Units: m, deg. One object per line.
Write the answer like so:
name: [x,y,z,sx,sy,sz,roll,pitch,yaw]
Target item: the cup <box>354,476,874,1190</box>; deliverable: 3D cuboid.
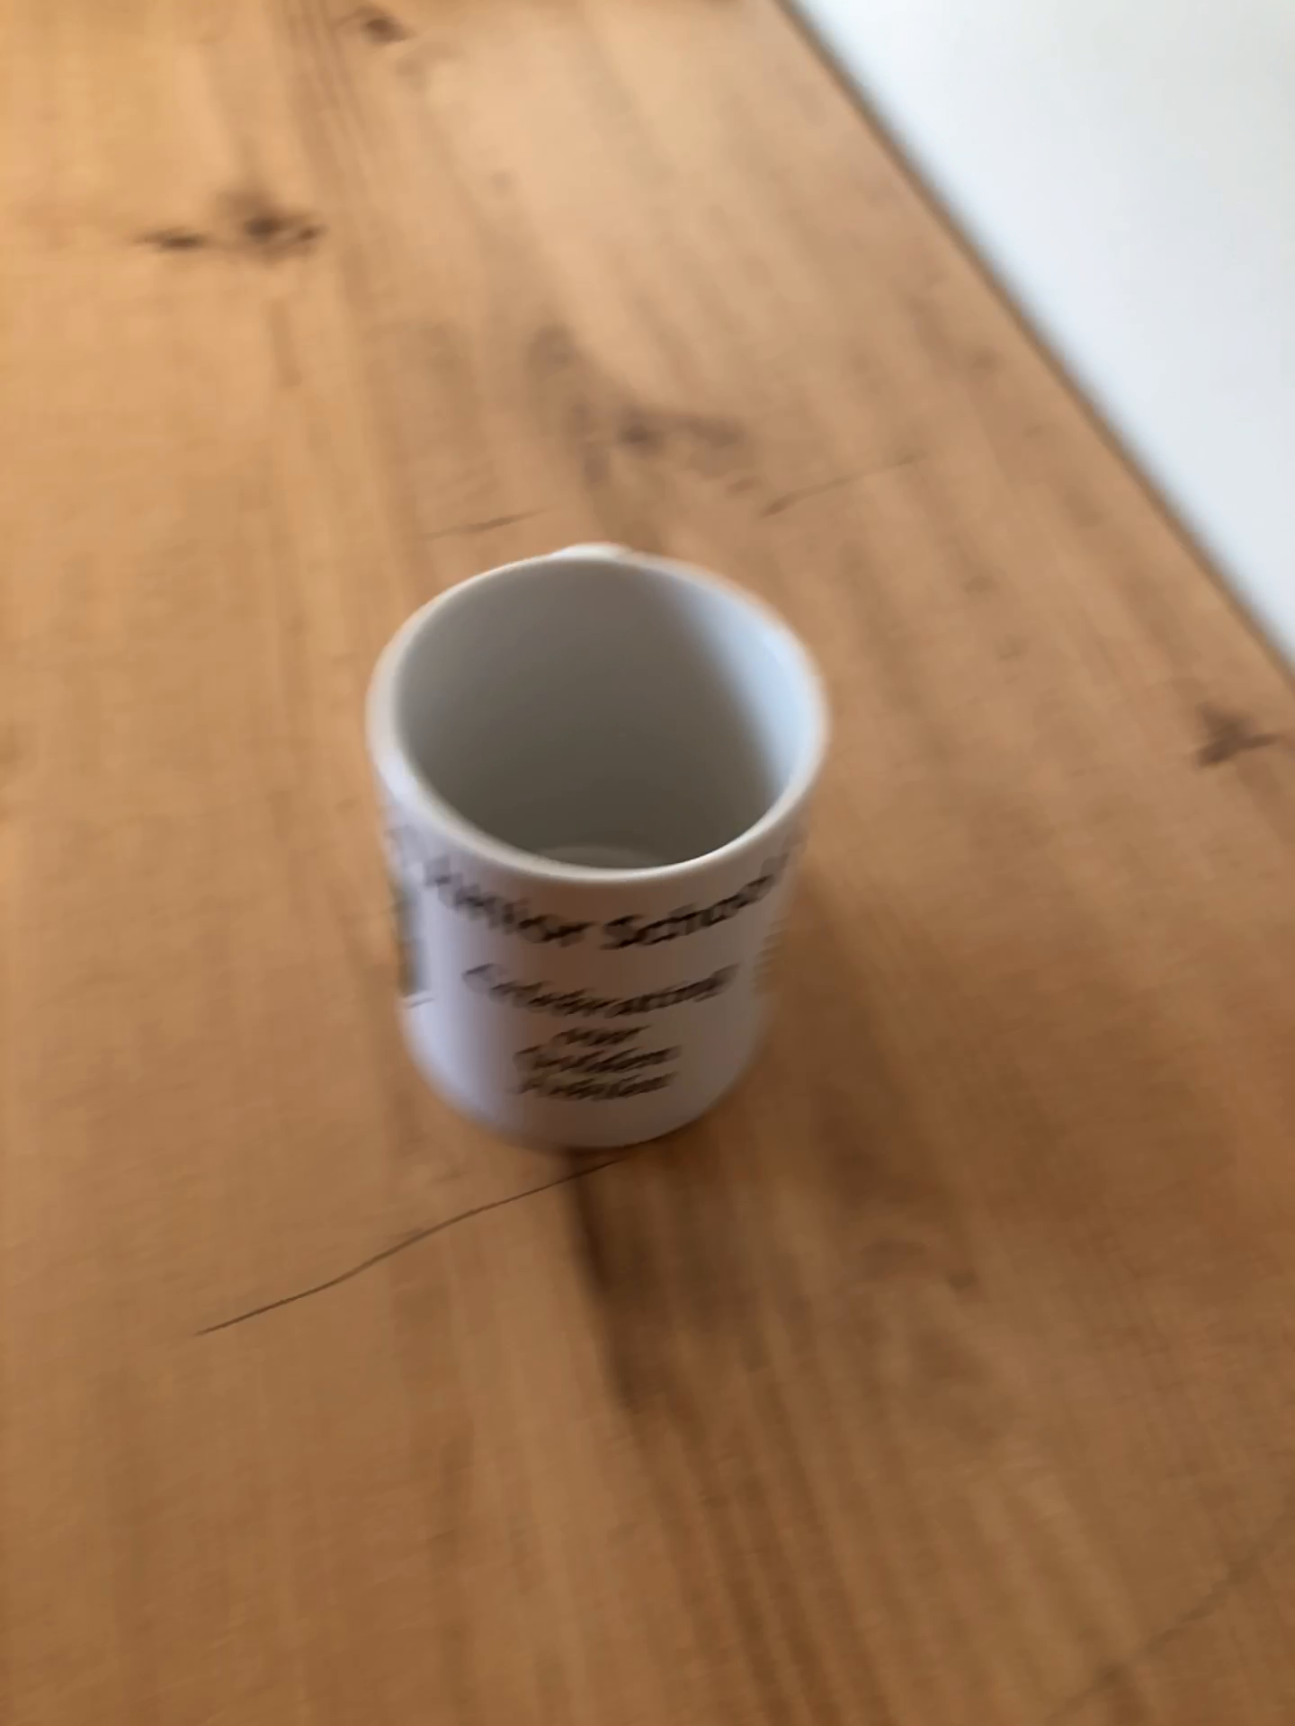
cup: [-0.015,-0.008,0.302,0.083,0.095,0.110,-2,47,-9]
